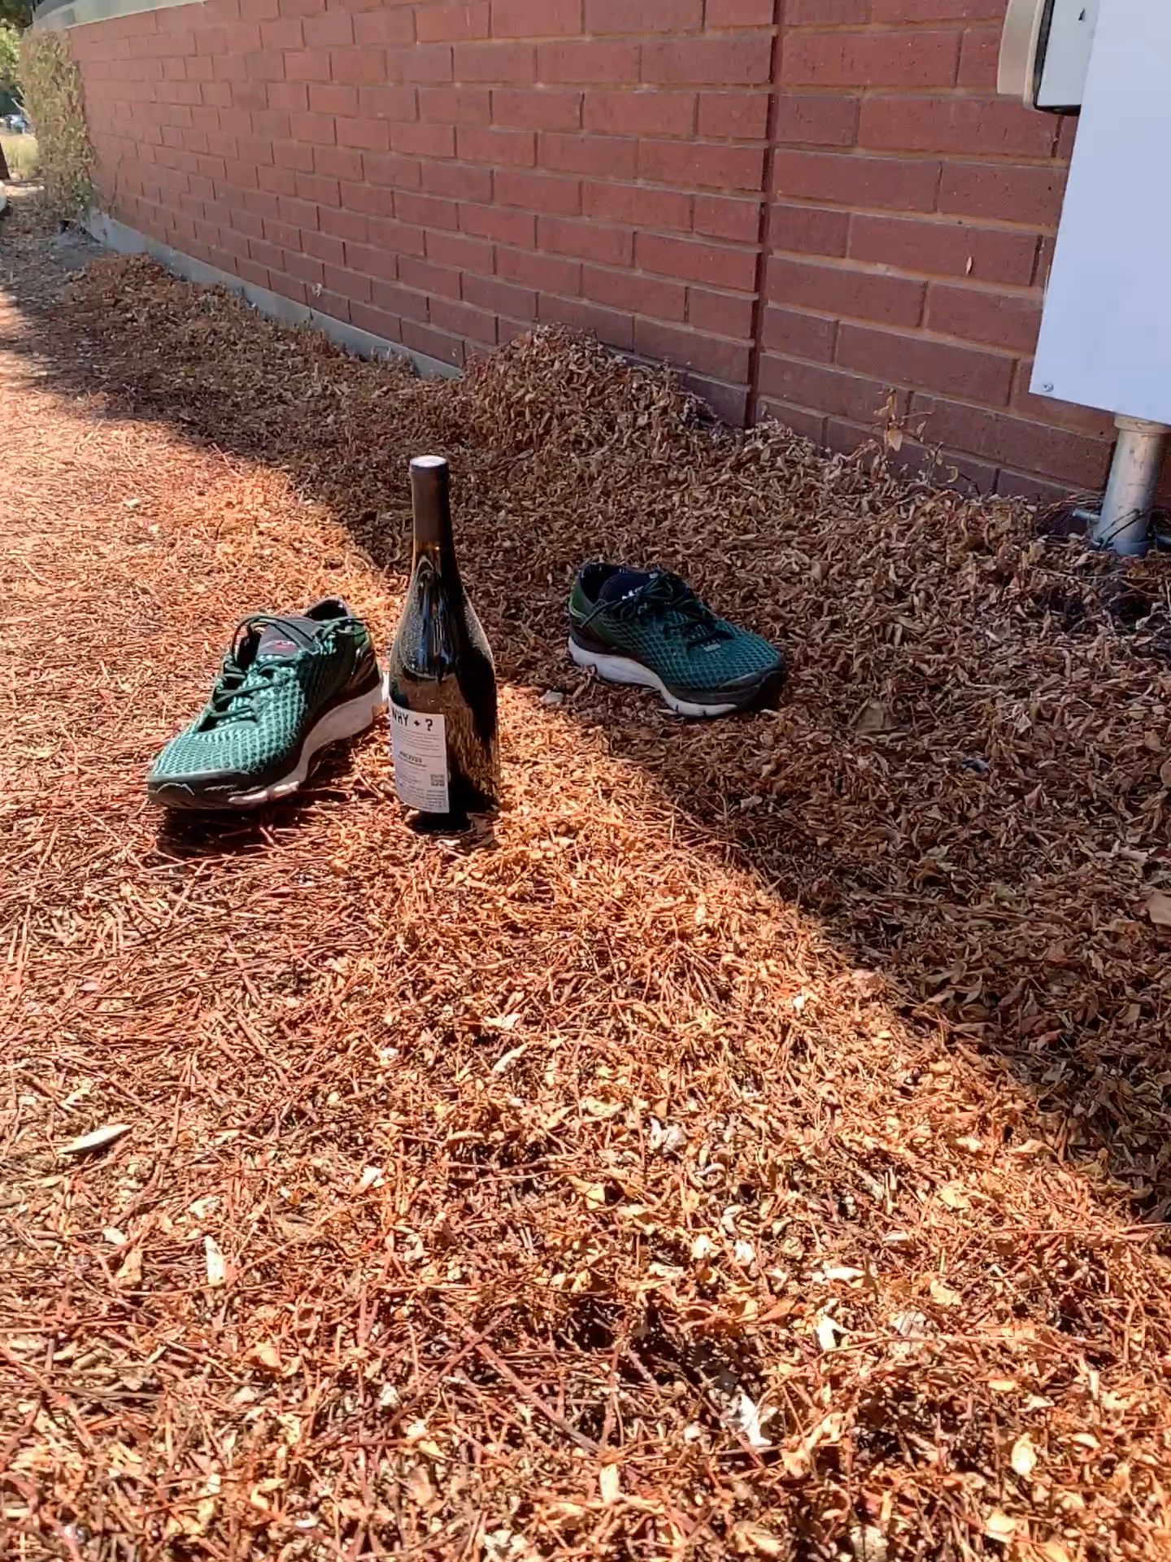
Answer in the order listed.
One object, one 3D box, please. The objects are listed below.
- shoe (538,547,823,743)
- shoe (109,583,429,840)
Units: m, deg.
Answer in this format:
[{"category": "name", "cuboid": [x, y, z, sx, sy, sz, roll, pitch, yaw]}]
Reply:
[{"category": "shoe", "cuboid": [0.088, -0.146, 1.223, 0.130, 0.089, 0.271, -23, 38, -36]}, {"category": "shoe", "cuboid": [-0.263, -0.075, 1.066, 0.140, 0.089, 0.302, 8, 31, 13]}]
